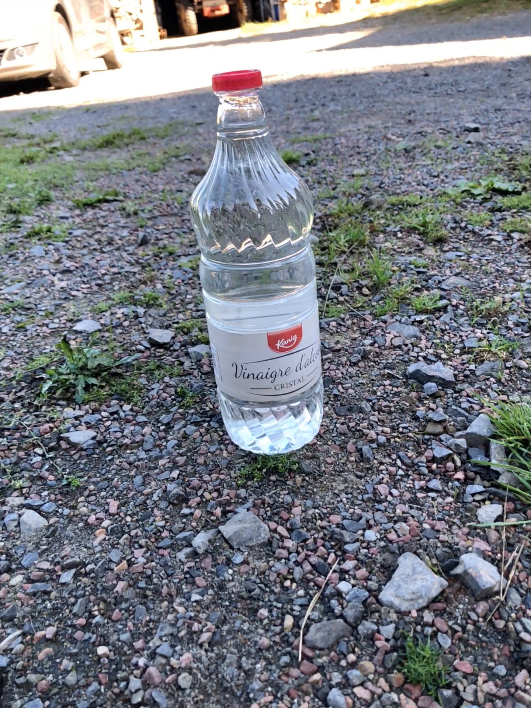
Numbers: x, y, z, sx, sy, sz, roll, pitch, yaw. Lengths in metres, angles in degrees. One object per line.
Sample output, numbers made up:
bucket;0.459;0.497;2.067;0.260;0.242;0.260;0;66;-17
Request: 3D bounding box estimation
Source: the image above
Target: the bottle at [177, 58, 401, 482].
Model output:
bottle;0.018;-0.055;0.394;0.100;0.249;0.100;-4;28;2
